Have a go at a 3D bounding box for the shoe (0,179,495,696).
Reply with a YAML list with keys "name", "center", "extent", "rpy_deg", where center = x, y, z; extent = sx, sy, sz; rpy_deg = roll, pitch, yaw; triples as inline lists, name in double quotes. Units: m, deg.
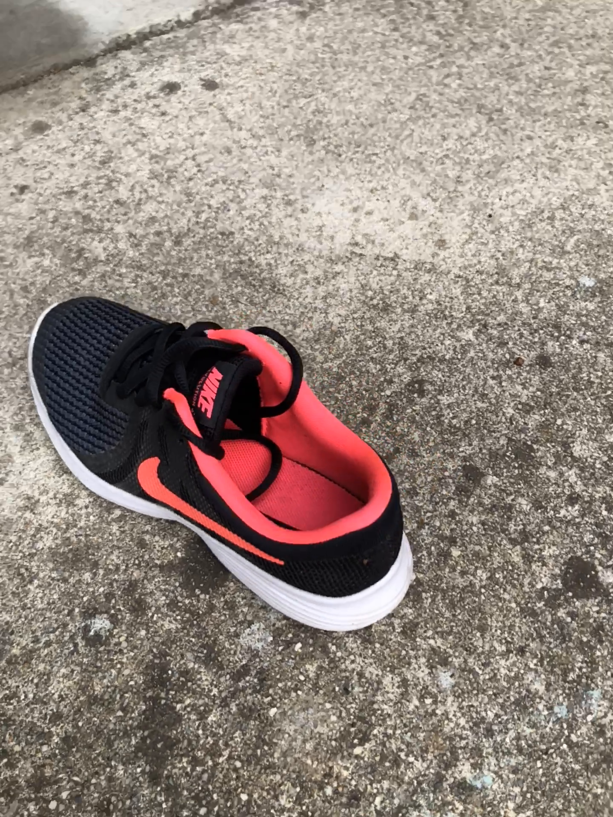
- name: "shoe"
  center: [-0.059, 0.003, 0.353]
  extent: [0.273, 0.100, 0.110]
  rpy_deg: [34, 64, 21]
